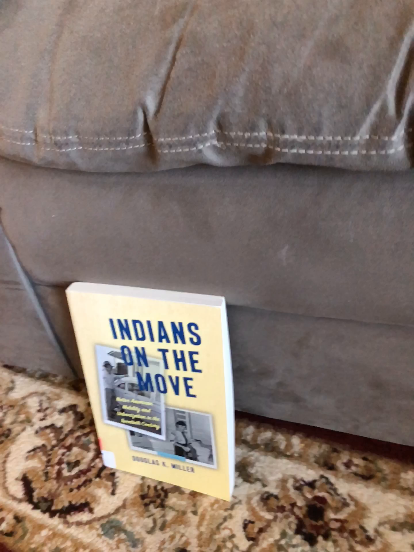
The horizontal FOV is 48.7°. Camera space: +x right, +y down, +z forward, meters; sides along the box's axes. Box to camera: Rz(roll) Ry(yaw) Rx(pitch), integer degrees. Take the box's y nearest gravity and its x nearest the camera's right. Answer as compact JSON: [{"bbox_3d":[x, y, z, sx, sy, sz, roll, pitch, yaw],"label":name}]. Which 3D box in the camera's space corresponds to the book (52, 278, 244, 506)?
[{"bbox_3d":[-0.051,0.117,0.453,0.160,0.229,0.030,5,28,22],"label":"book"}]
